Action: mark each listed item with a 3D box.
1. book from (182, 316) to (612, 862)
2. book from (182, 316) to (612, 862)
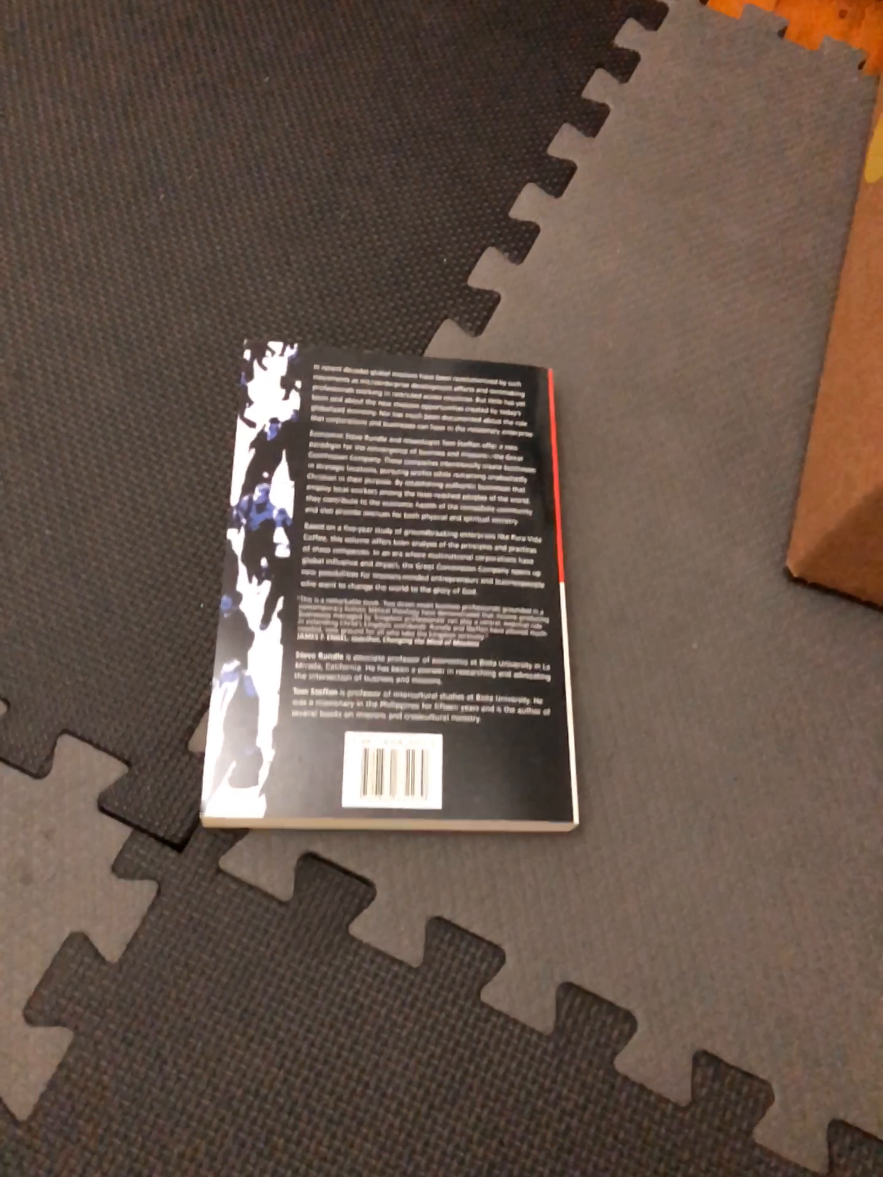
[{"bbox_3d":[-0.016,-0.009,0.397,0.150,0.020,0.231,2,65,-6],"label":"book"},{"bbox_3d":[-0.016,-0.009,0.397,0.150,0.020,0.231,2,65,-6],"label":"book"}]
